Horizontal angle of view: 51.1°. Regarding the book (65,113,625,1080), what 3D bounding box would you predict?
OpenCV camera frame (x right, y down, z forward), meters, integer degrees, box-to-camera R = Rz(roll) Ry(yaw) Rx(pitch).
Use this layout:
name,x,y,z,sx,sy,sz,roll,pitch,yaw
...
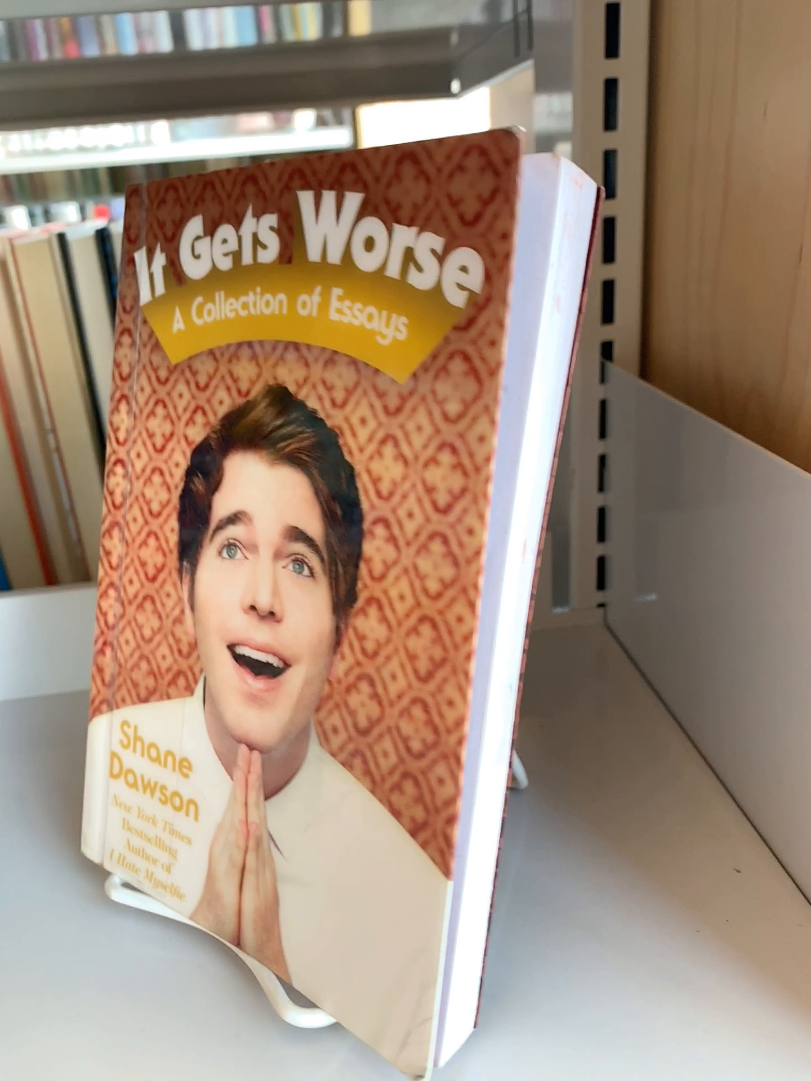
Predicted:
name,x,y,z,sx,sy,sz,roll,pitch,yaw
book,-0.032,0.010,0.227,0.149,0.209,0.030,13,13,34
